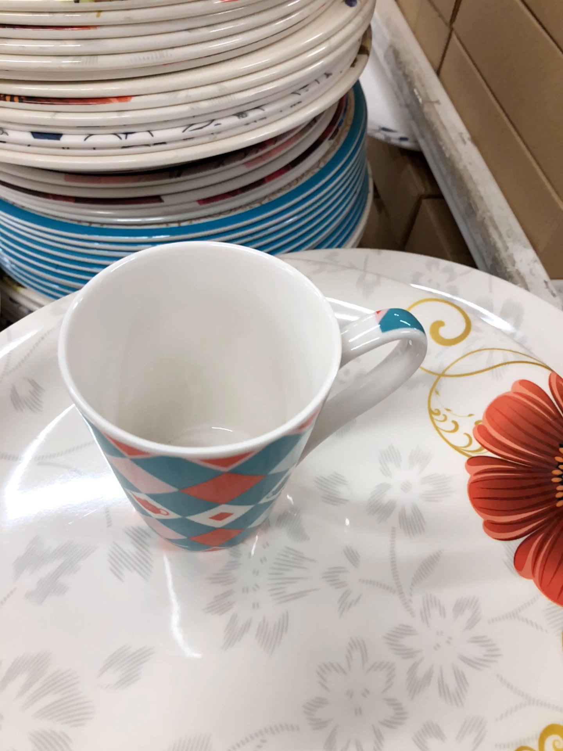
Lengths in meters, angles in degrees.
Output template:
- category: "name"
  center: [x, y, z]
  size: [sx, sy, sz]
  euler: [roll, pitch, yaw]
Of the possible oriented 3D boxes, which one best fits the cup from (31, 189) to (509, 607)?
- category: "cup"
  center: [-0.008, 0.007, 0.238]
  size: [0.130, 0.100, 0.080]
  euler: [-19, 58, -20]
